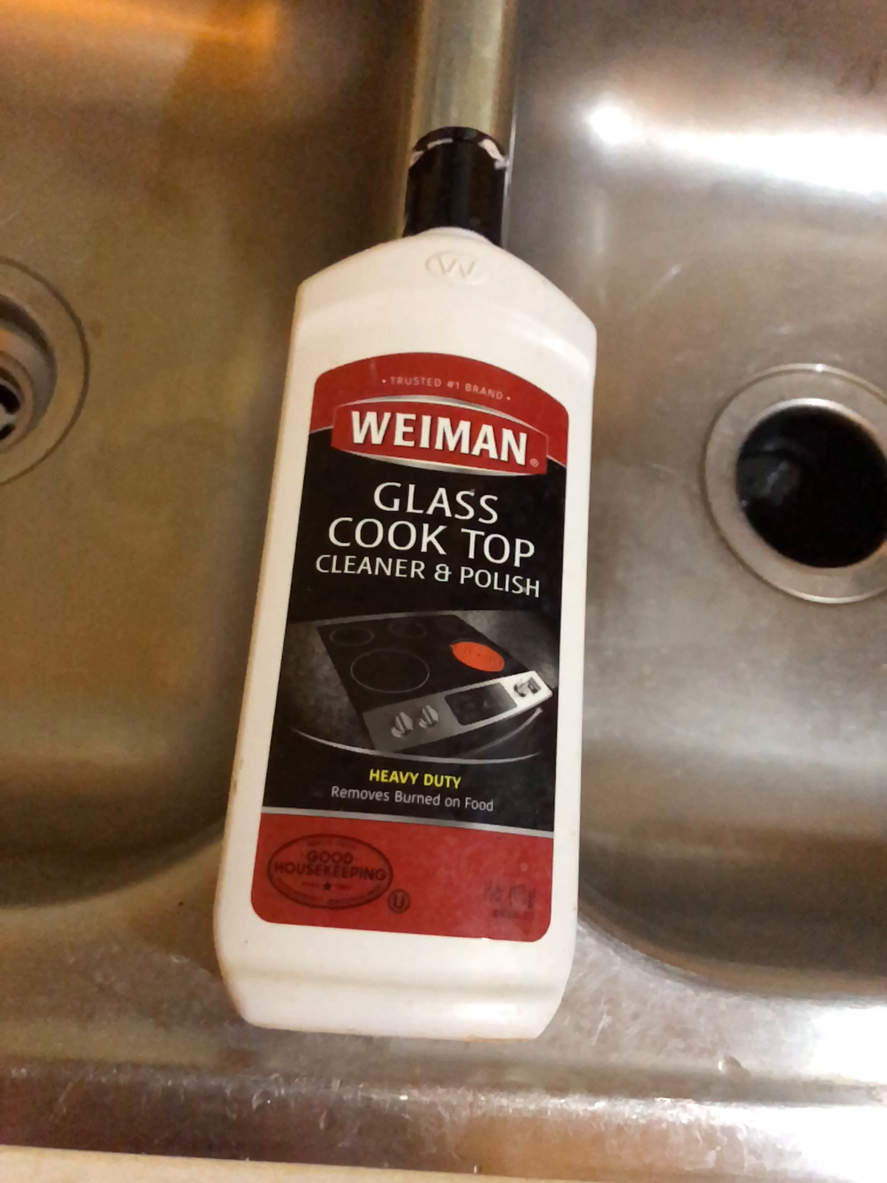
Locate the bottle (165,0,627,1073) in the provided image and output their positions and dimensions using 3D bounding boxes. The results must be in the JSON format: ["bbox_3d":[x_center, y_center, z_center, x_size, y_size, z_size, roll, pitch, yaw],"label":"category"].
[{"bbox_3d":[-0.004,-0.023,0.237,0.080,0.050,0.240,6,73,-5],"label":"bottle"}]
